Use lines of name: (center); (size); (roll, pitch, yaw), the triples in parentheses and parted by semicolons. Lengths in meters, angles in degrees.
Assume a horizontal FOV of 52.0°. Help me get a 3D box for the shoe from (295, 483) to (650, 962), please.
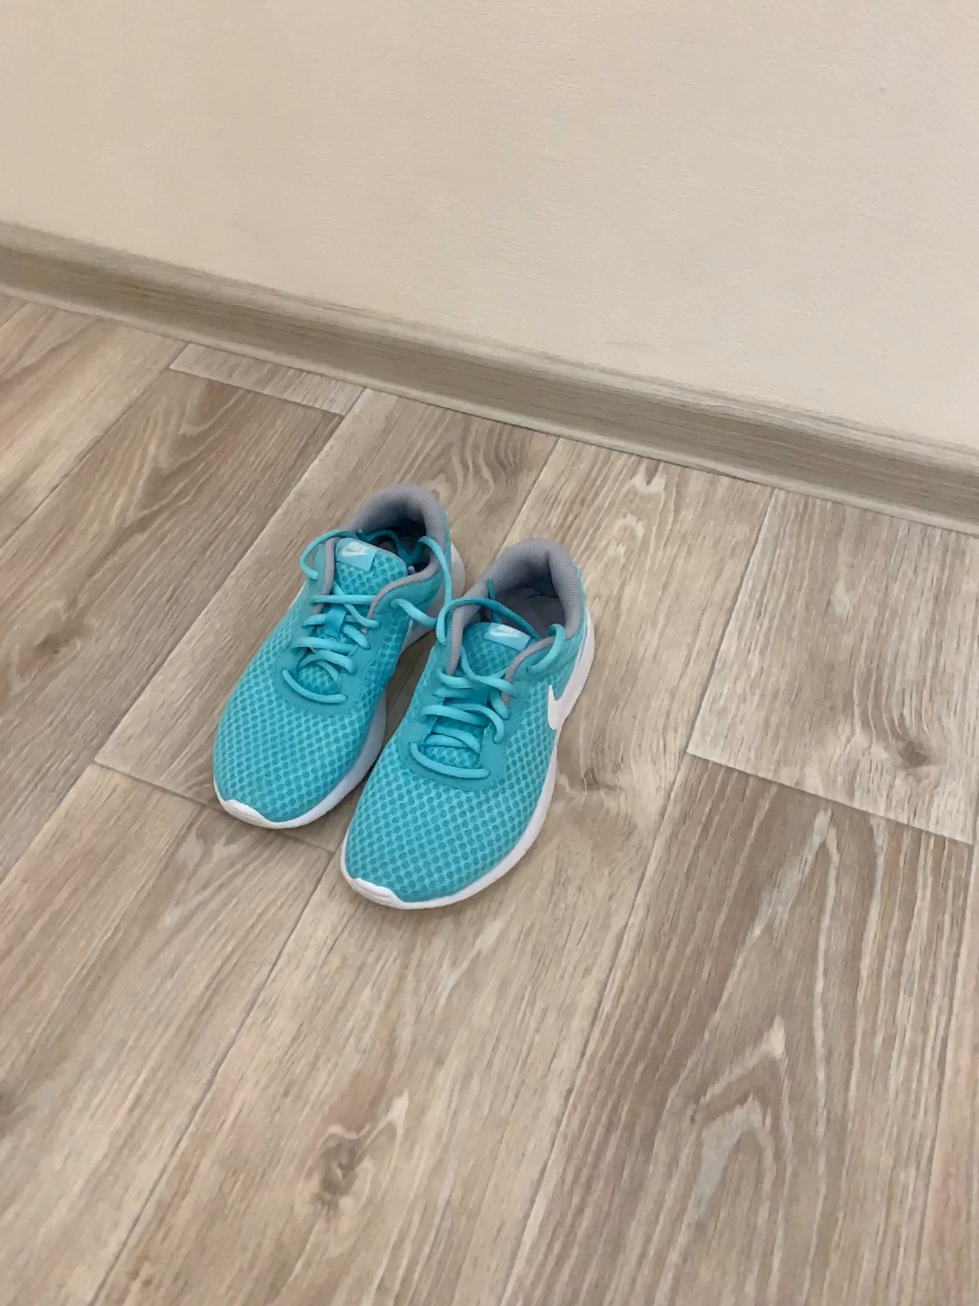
shoe: (0.002, 0.029, 0.578); (0.098, 0.090, 0.251); (19, 56, 15)

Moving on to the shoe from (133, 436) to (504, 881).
shoe: (-0.088, -0.007, 0.611); (0.101, 0.090, 0.251); (19, 56, 15)
